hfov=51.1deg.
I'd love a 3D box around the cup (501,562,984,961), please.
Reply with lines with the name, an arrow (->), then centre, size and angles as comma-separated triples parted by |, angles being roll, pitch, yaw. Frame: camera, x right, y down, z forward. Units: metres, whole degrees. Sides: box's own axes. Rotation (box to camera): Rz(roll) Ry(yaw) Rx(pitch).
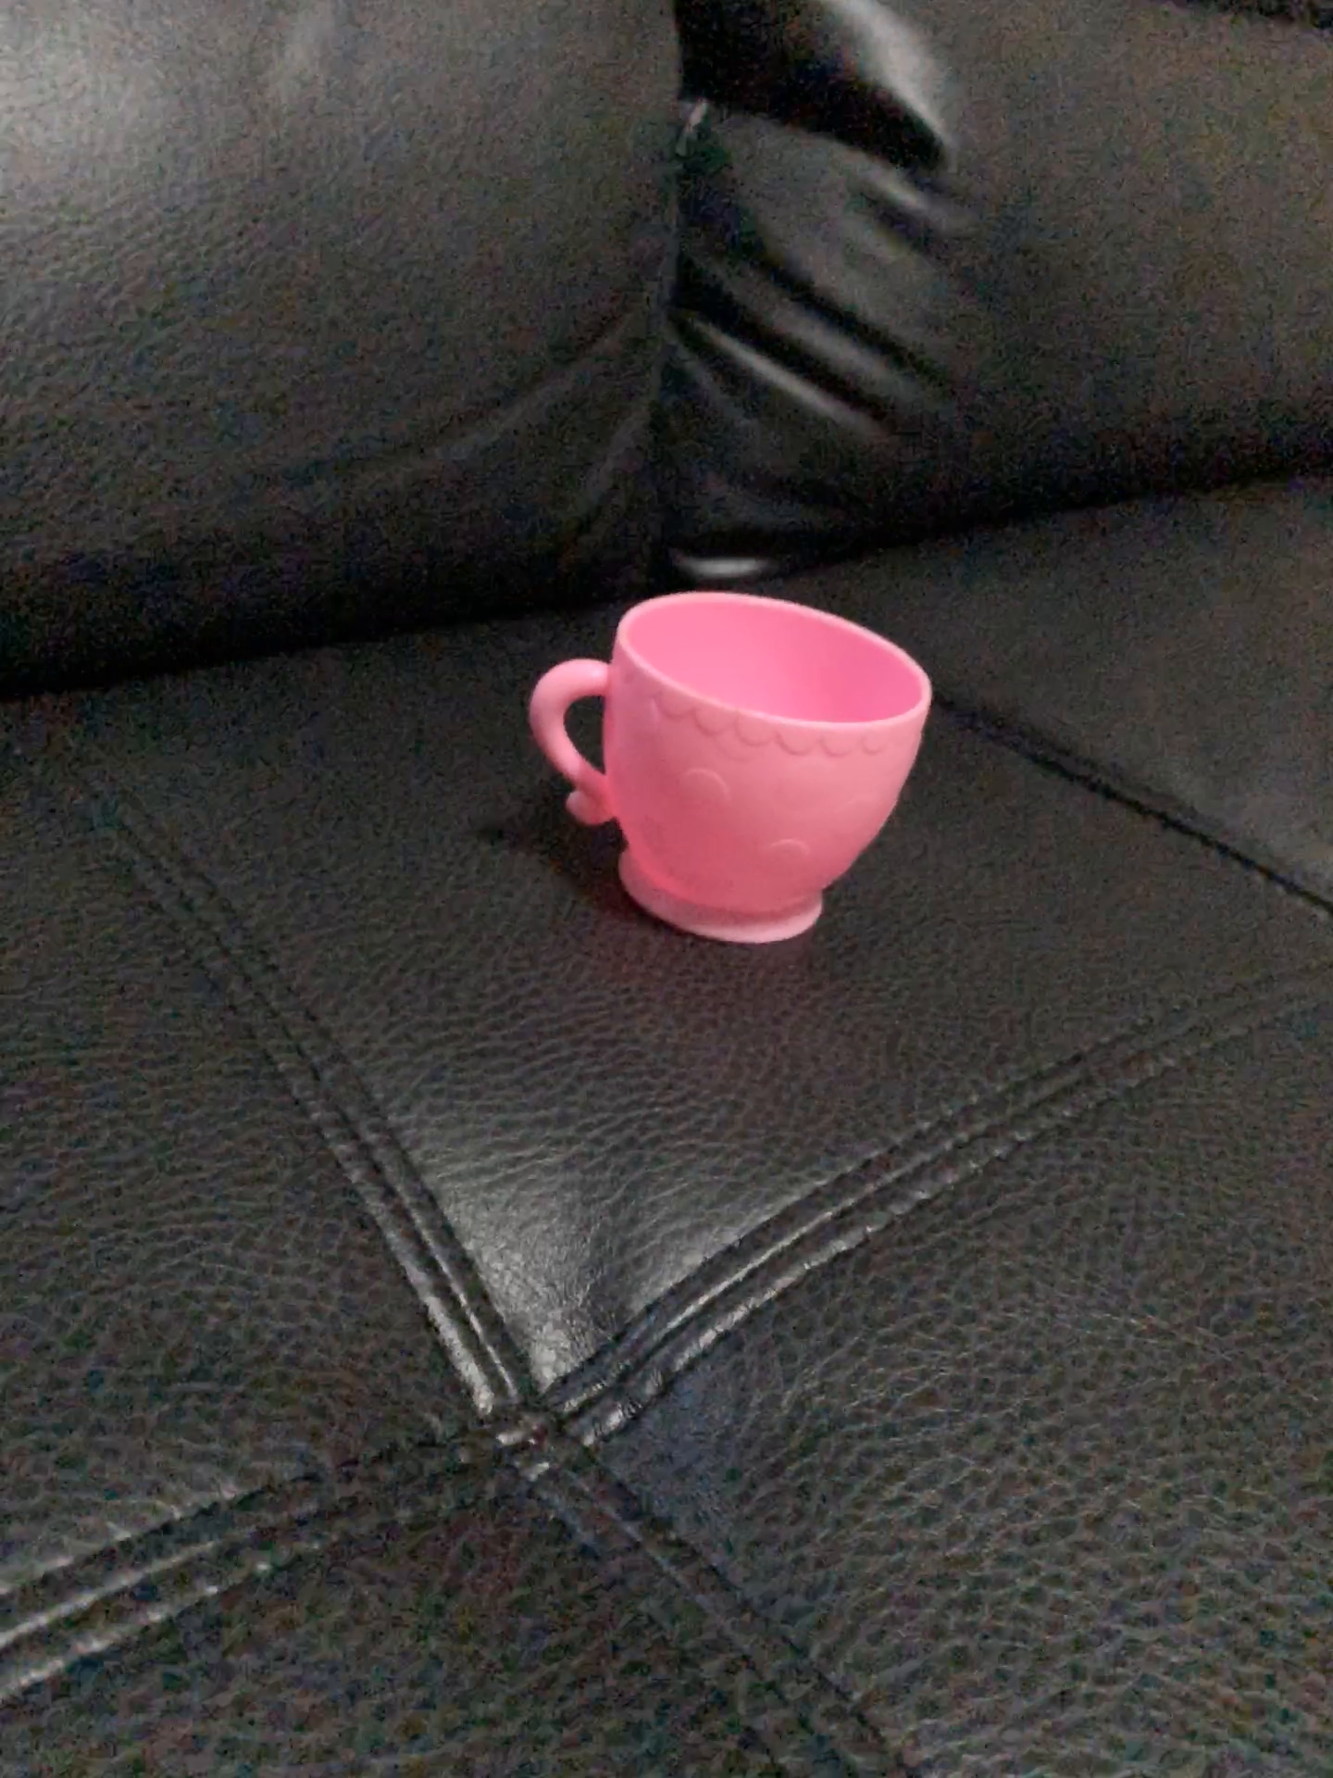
cup -> 0.011, -0.026, 0.268 | 0.077, 0.045, 0.061 | 6, 32, -5
